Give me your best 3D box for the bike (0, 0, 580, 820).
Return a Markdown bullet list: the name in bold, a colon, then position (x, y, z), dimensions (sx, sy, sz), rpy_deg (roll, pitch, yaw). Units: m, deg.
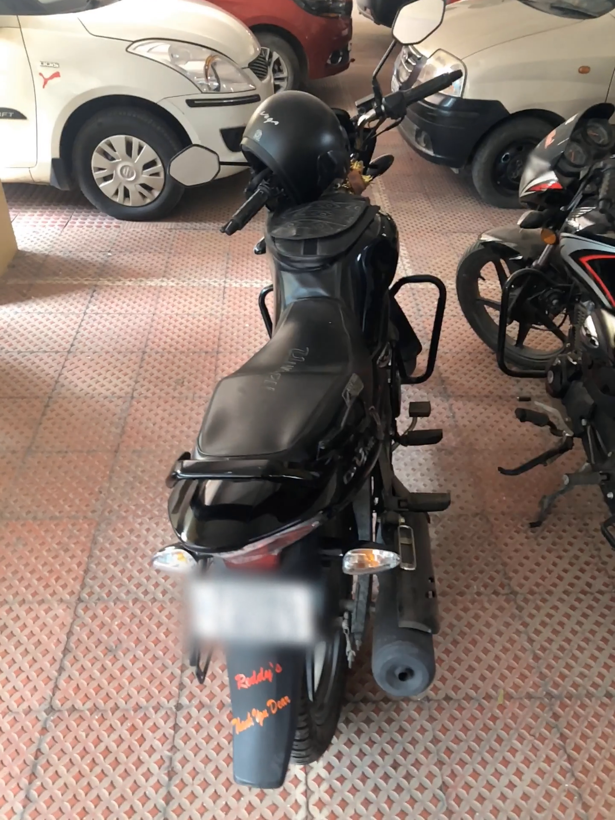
- **bike**: position (-0.104, -0.188, 1.751), dimensions (0.804, 1.200, 1.692), rpy_deg (3, 40, 2)
